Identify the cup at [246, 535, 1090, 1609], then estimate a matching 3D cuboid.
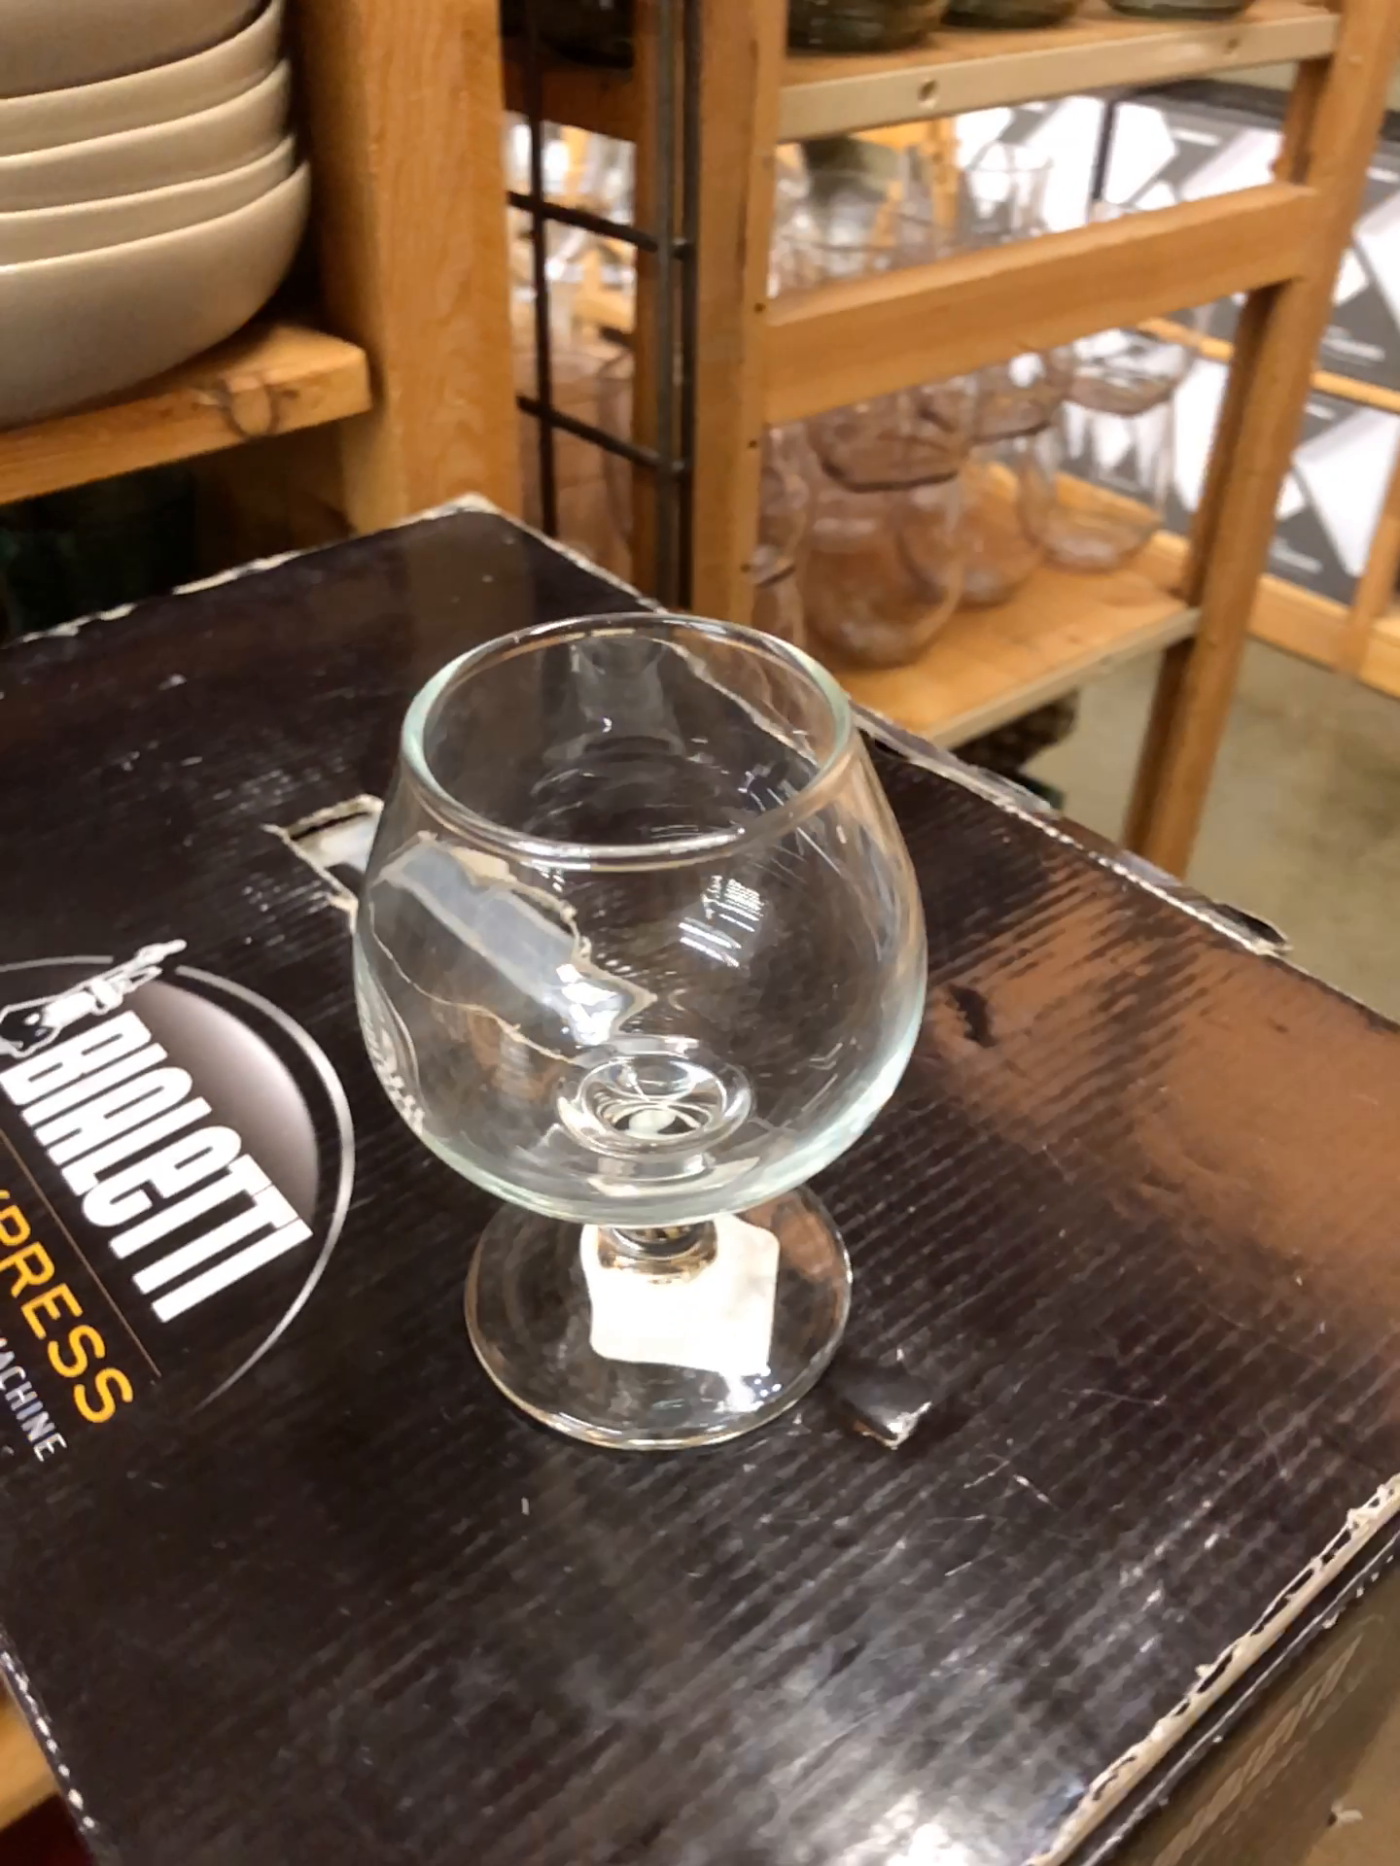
[{"bbox_3d":[-0.007,0.016,0.210,0.069,0.106,0.072,1,37,-1],"label":"cup"}]
